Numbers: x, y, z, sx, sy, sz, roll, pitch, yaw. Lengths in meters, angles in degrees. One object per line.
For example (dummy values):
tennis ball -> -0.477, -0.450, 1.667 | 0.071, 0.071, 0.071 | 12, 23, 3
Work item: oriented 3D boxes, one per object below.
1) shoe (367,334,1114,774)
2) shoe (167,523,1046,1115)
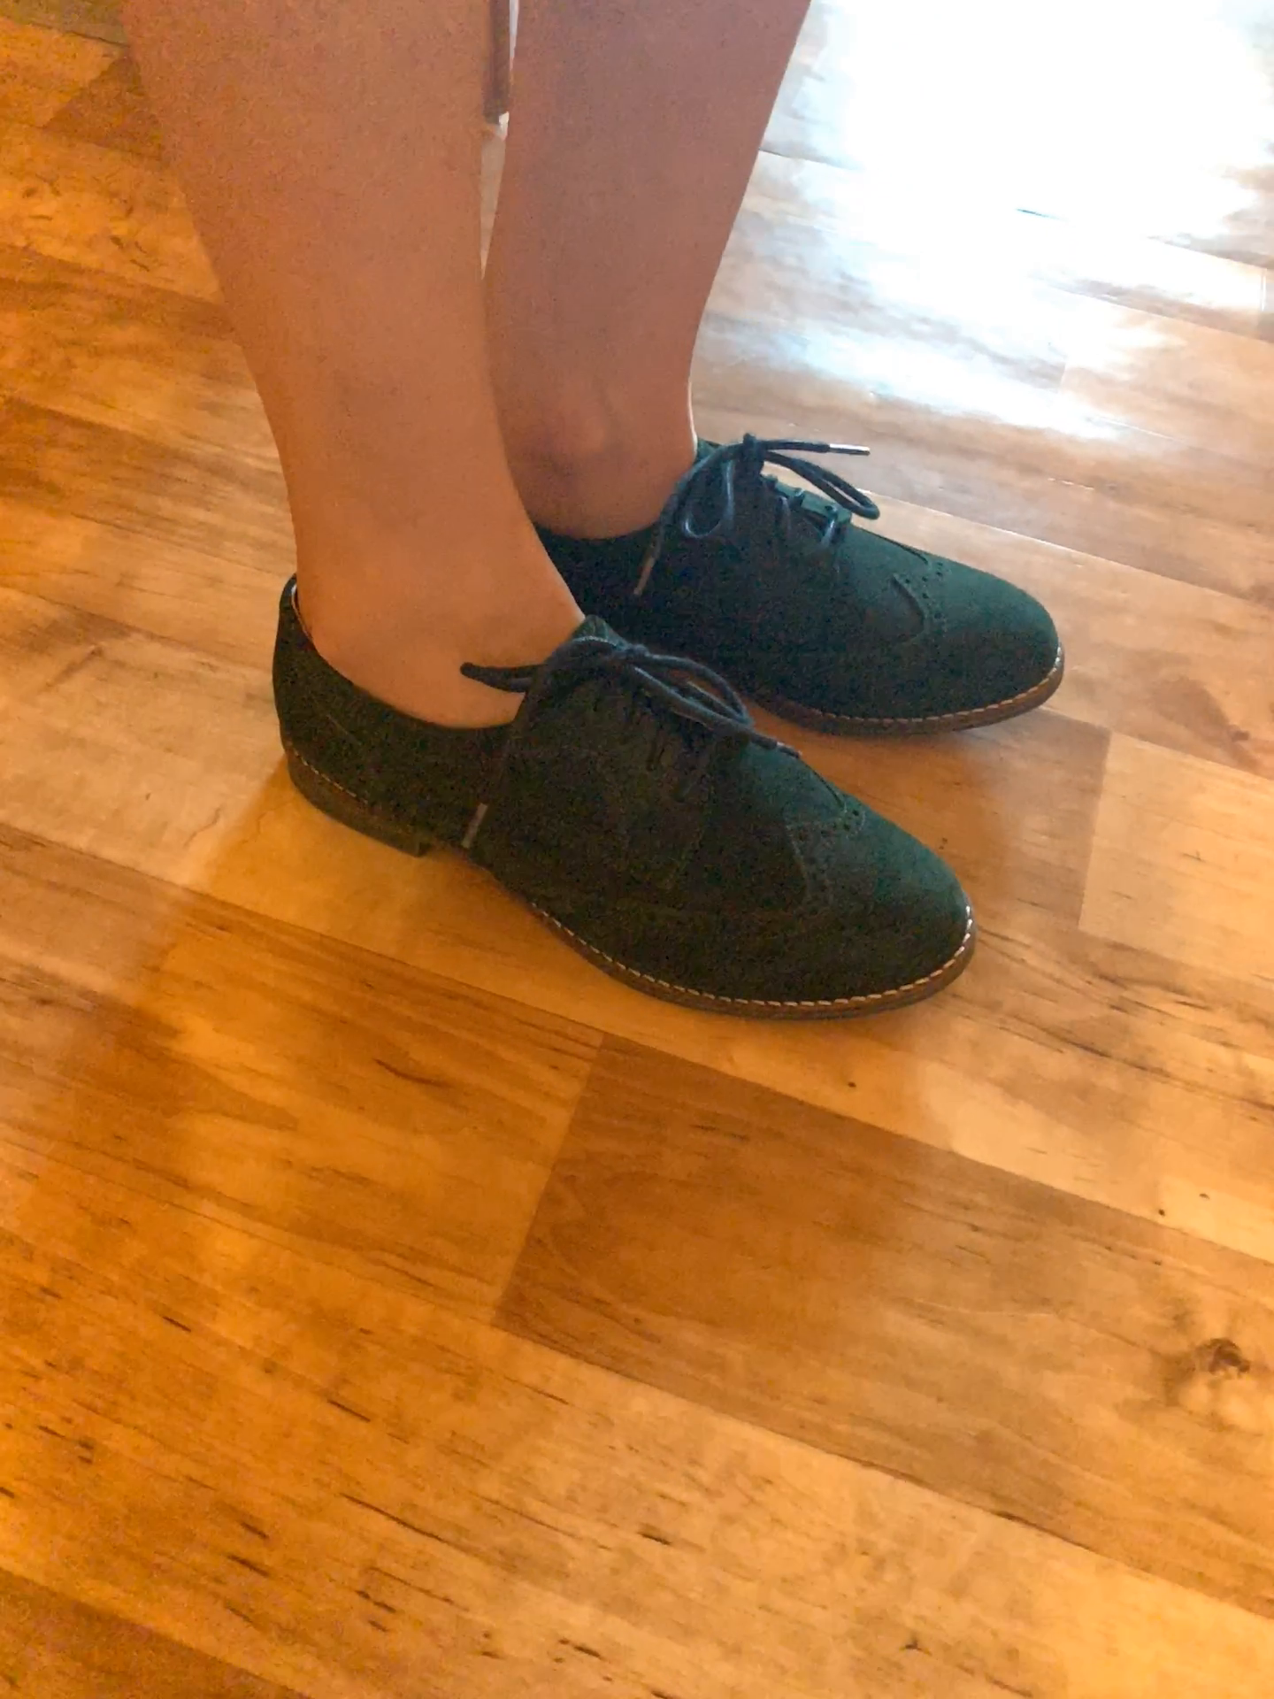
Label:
shoe -> 0.037, -0.111, 0.494 | 0.250, 0.080, 0.100 | 9, 56, 0
shoe -> -0.010, -0.012, 0.441 | 0.260, 0.080, 0.090 | 20, 56, 8
